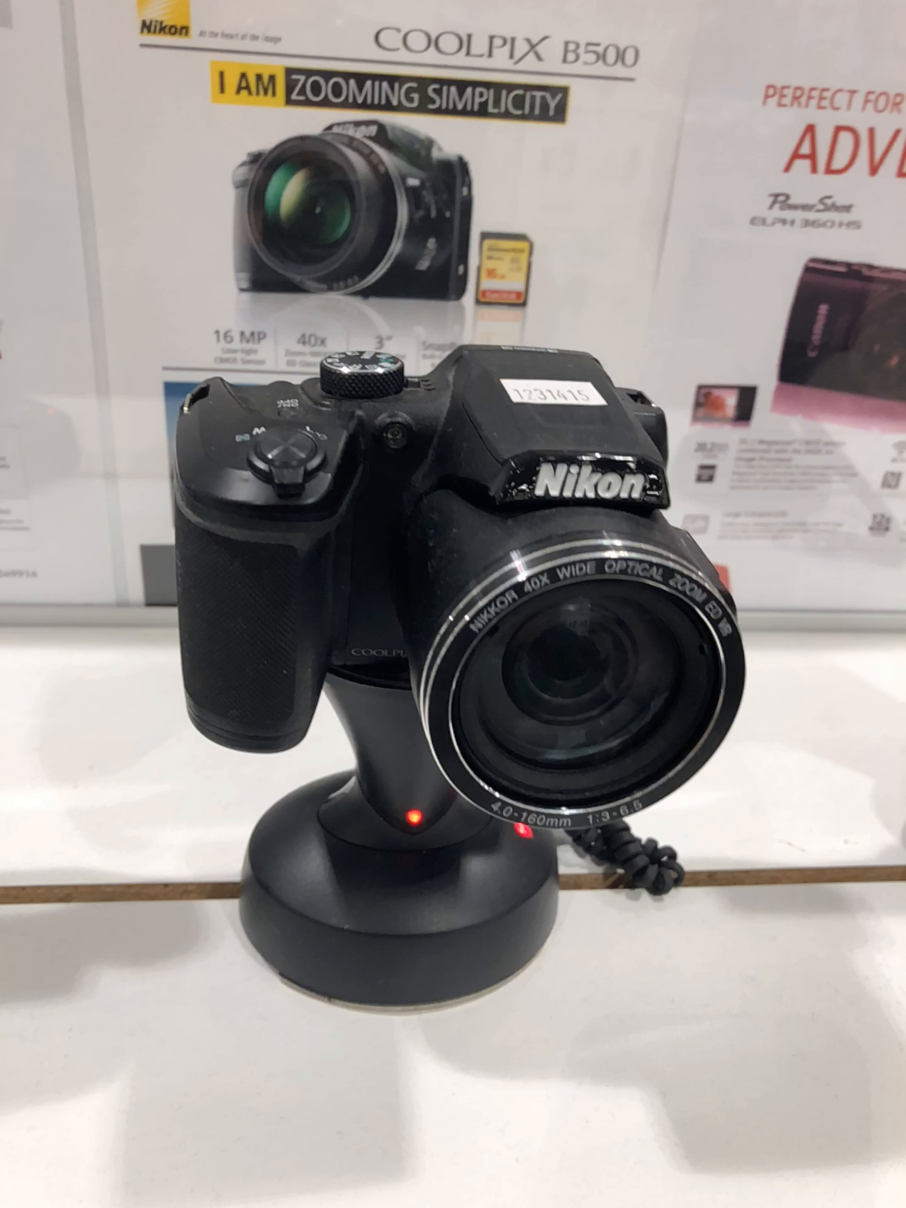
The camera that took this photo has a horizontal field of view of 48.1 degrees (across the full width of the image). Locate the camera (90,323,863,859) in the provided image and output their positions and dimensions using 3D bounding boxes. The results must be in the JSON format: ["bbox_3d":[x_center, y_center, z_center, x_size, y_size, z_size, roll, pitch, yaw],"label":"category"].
[{"bbox_3d":[-0.002,-0.010,0.215,0.120,0.070,0.100,0,29,-8],"label":"camera"}]
